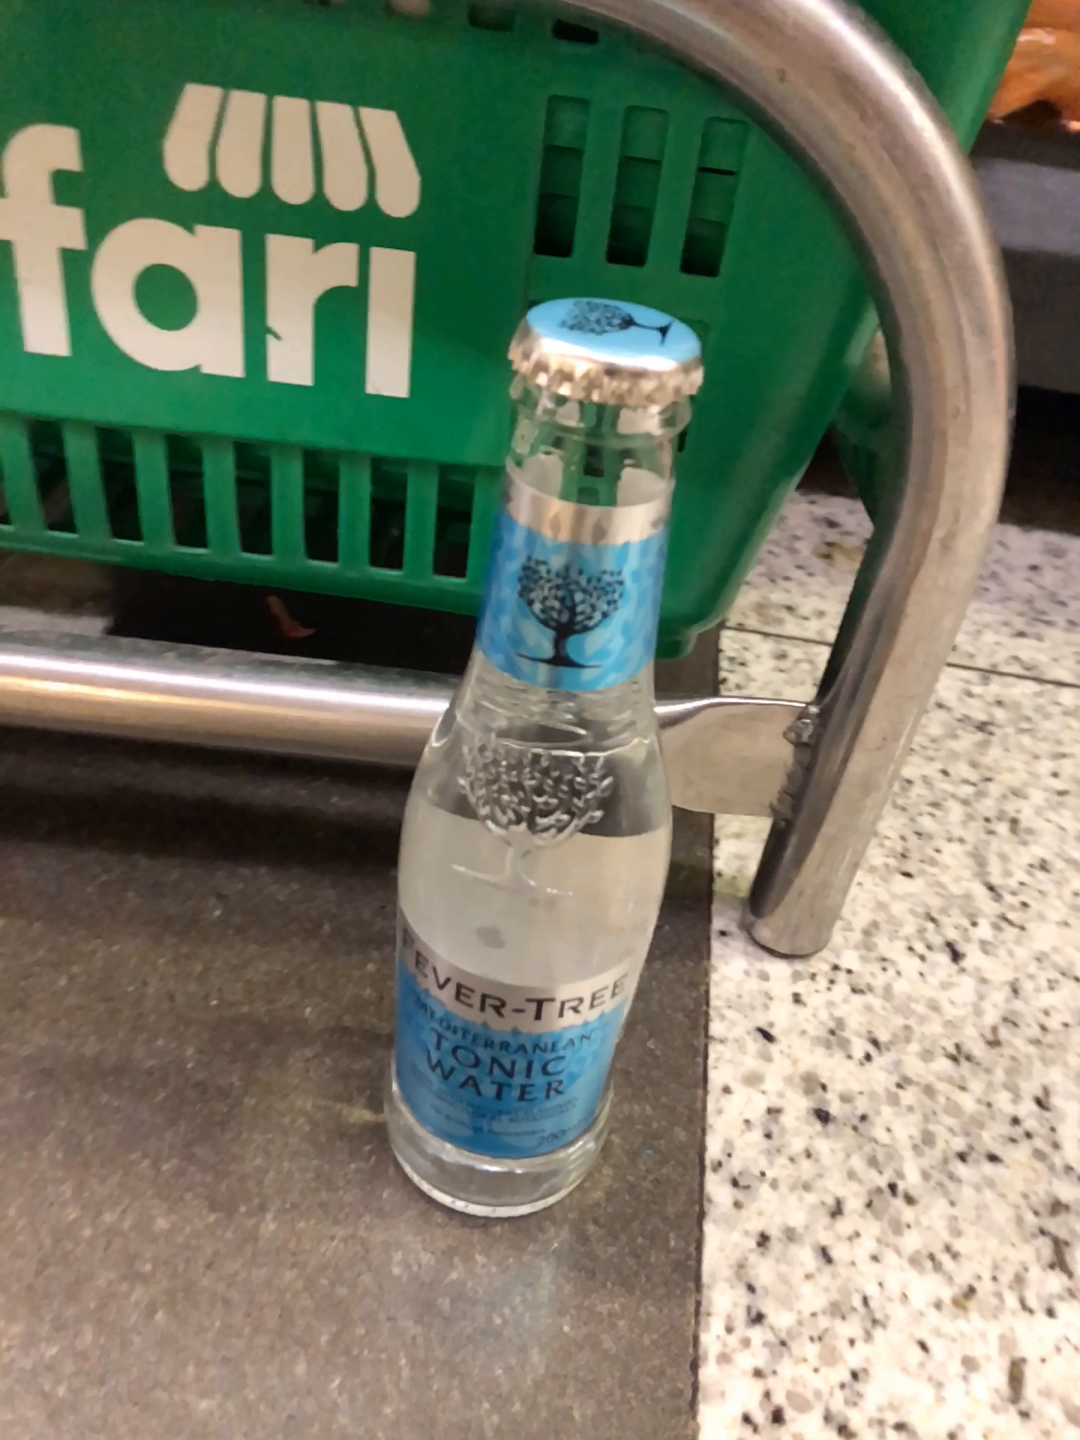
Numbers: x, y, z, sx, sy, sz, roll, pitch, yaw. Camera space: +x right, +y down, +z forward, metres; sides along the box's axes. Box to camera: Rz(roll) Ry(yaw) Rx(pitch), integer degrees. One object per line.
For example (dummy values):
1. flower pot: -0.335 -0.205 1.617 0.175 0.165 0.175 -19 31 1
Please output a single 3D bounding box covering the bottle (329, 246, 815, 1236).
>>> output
1. bottle: -0.004 0.019 0.226 0.060 0.188 0.050 7 36 -1
